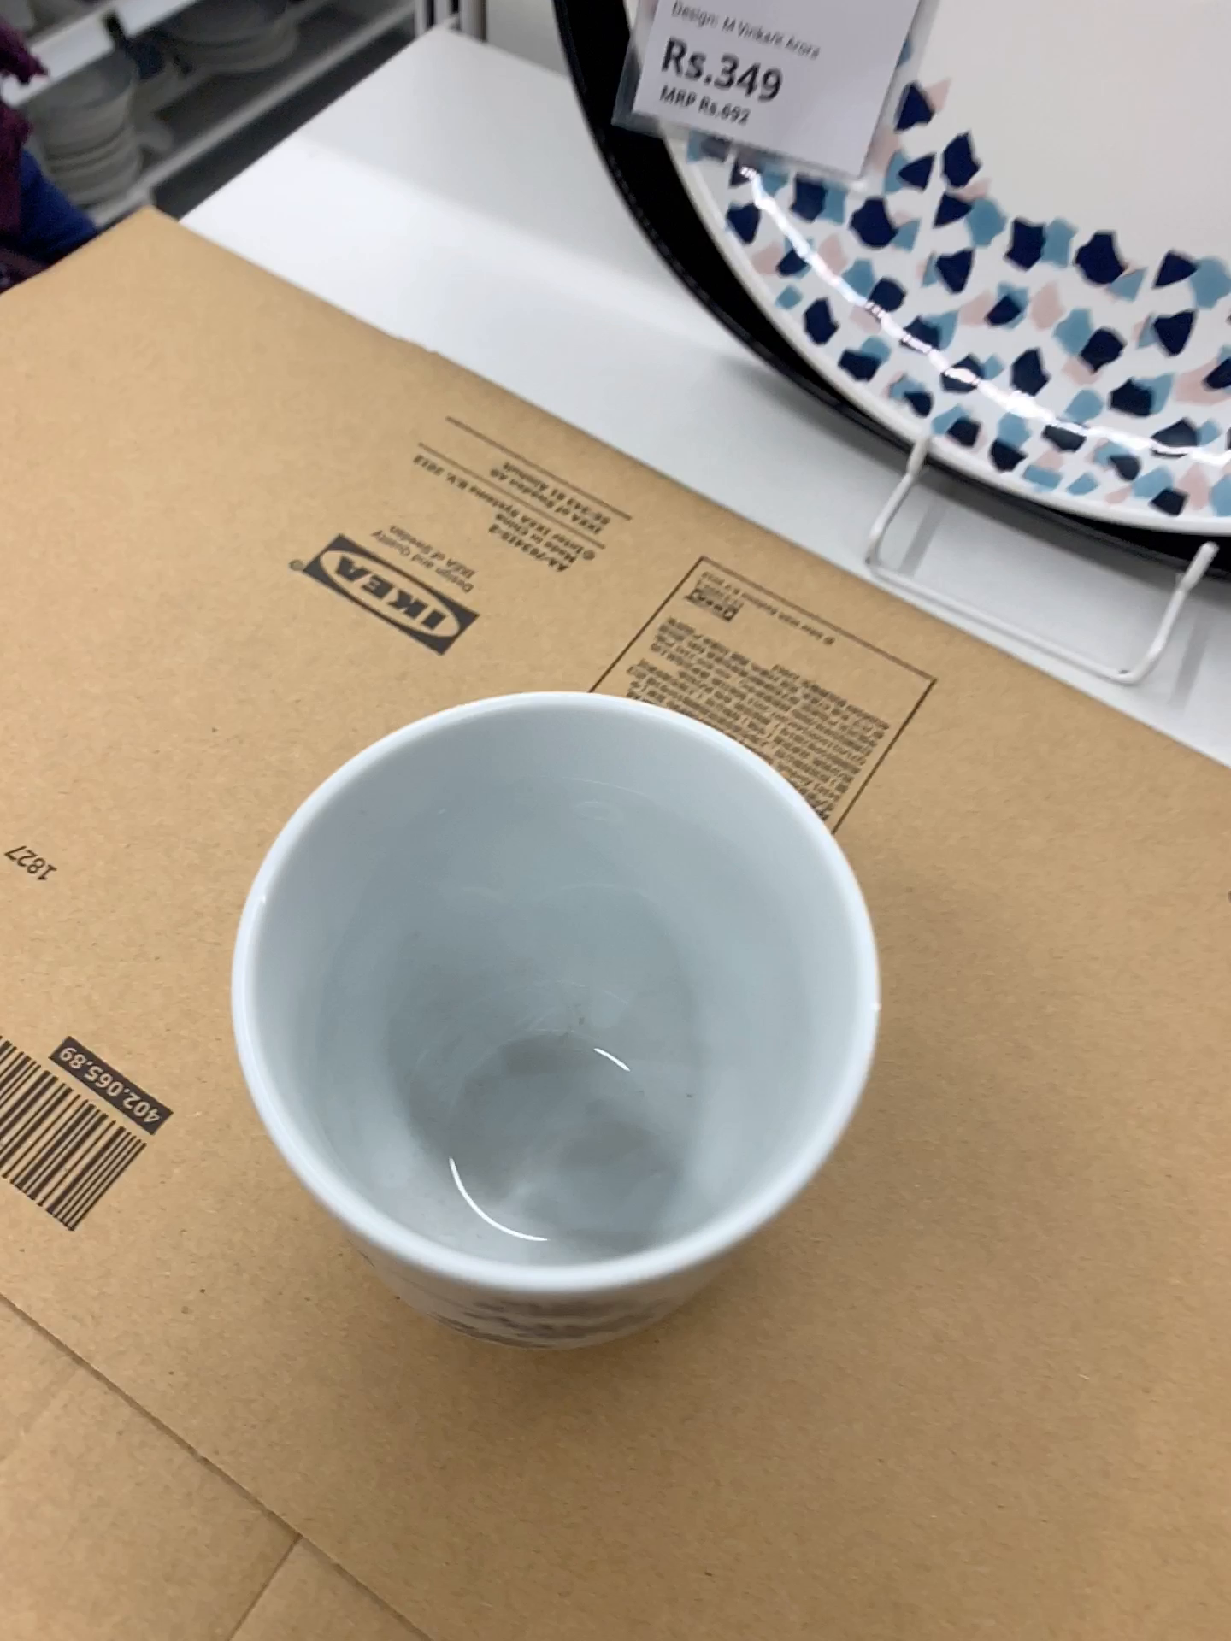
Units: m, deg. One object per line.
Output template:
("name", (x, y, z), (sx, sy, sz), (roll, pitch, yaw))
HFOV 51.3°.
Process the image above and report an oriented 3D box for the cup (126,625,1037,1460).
("cup", (-0.005, 0.034, 0.167), (0.080, 0.080, 0.080), (3, 58, -4))
